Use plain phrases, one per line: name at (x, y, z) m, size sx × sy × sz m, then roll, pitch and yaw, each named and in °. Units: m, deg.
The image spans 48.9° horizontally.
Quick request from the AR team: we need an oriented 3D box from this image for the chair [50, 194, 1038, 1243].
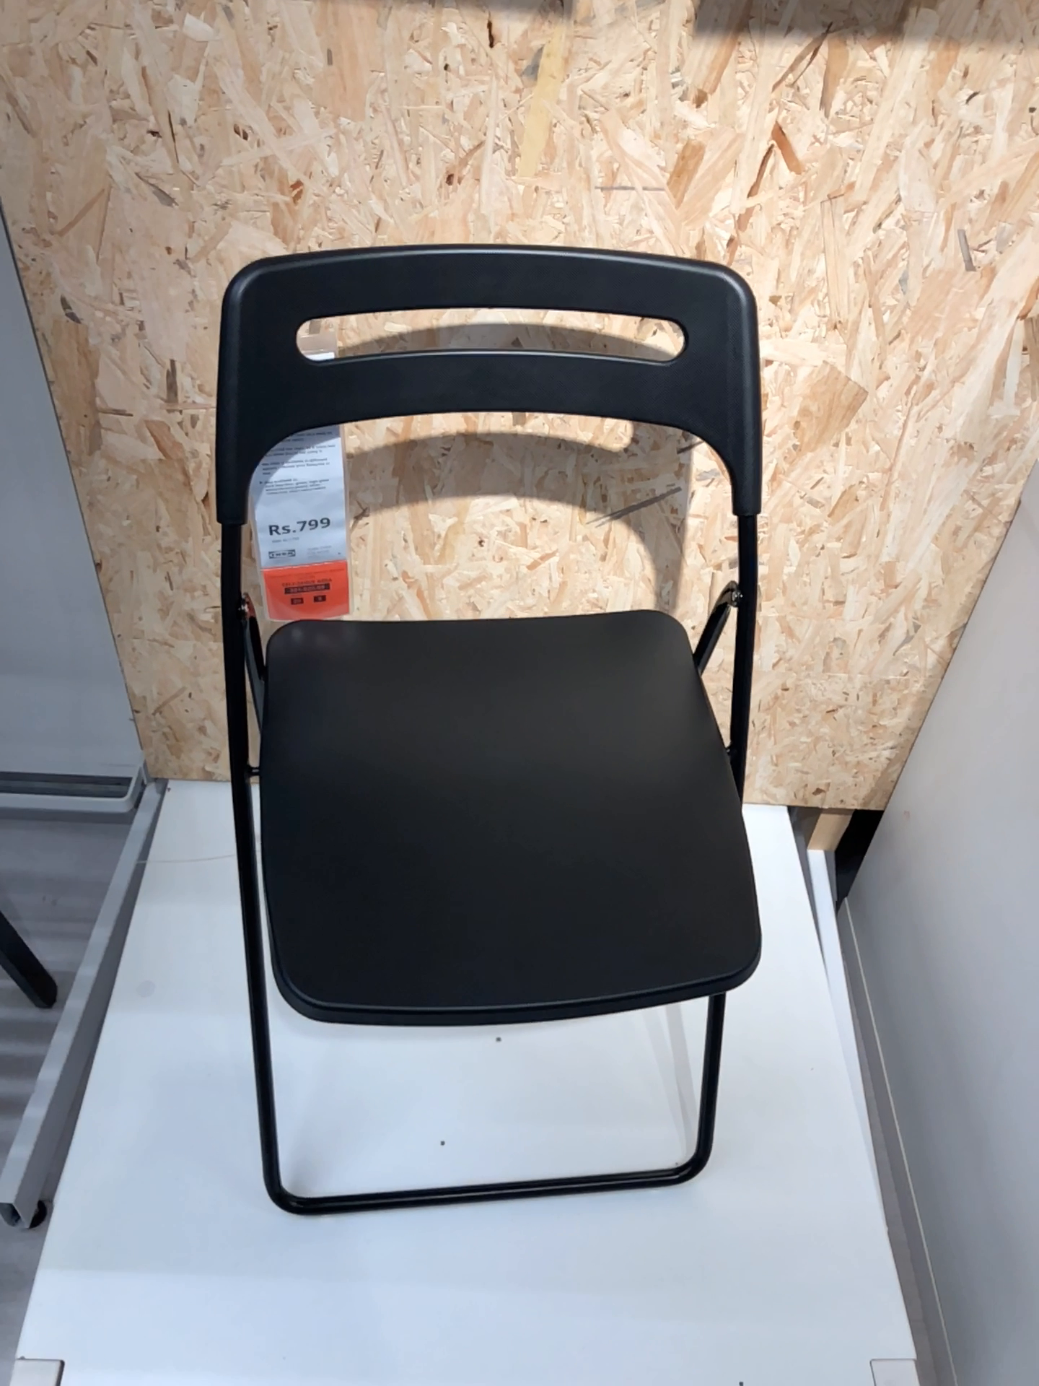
chair at (-0.013, 0.051, 0.990) m, size 0.490 × 0.735 × 0.523 m, roll -1°, pitch 45°, yaw -6°
